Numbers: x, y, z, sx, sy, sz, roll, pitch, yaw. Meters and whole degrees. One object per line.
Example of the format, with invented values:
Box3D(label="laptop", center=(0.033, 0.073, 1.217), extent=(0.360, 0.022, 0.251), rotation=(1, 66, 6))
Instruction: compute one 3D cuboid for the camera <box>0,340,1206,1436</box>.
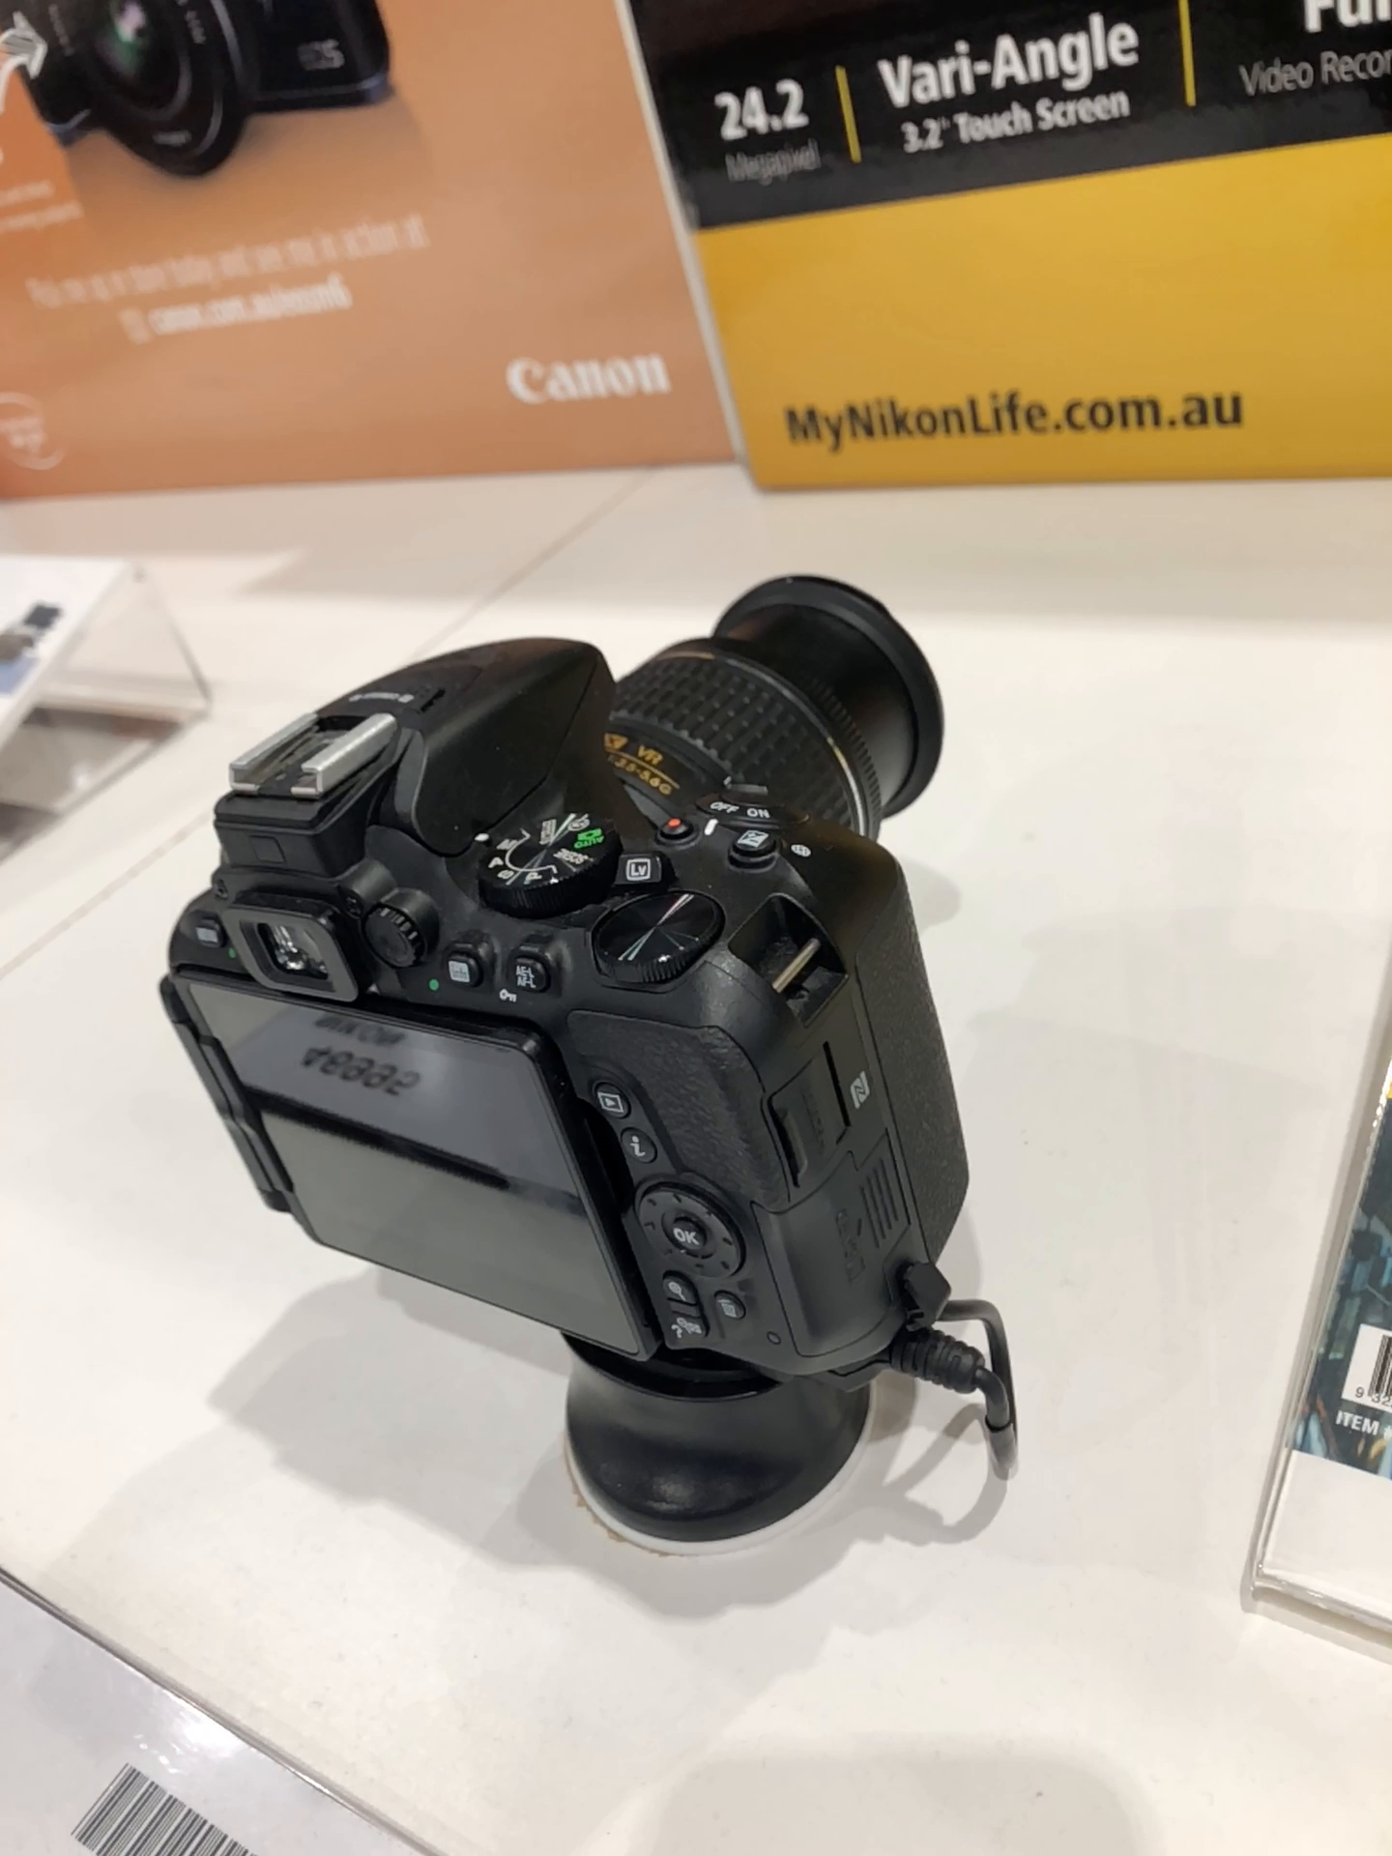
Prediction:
Box3D(label="camera", center=(-0.002, -0.023, 0.282), extent=(0.128, 0.096, 0.163), rotation=(9, 42, 35))
